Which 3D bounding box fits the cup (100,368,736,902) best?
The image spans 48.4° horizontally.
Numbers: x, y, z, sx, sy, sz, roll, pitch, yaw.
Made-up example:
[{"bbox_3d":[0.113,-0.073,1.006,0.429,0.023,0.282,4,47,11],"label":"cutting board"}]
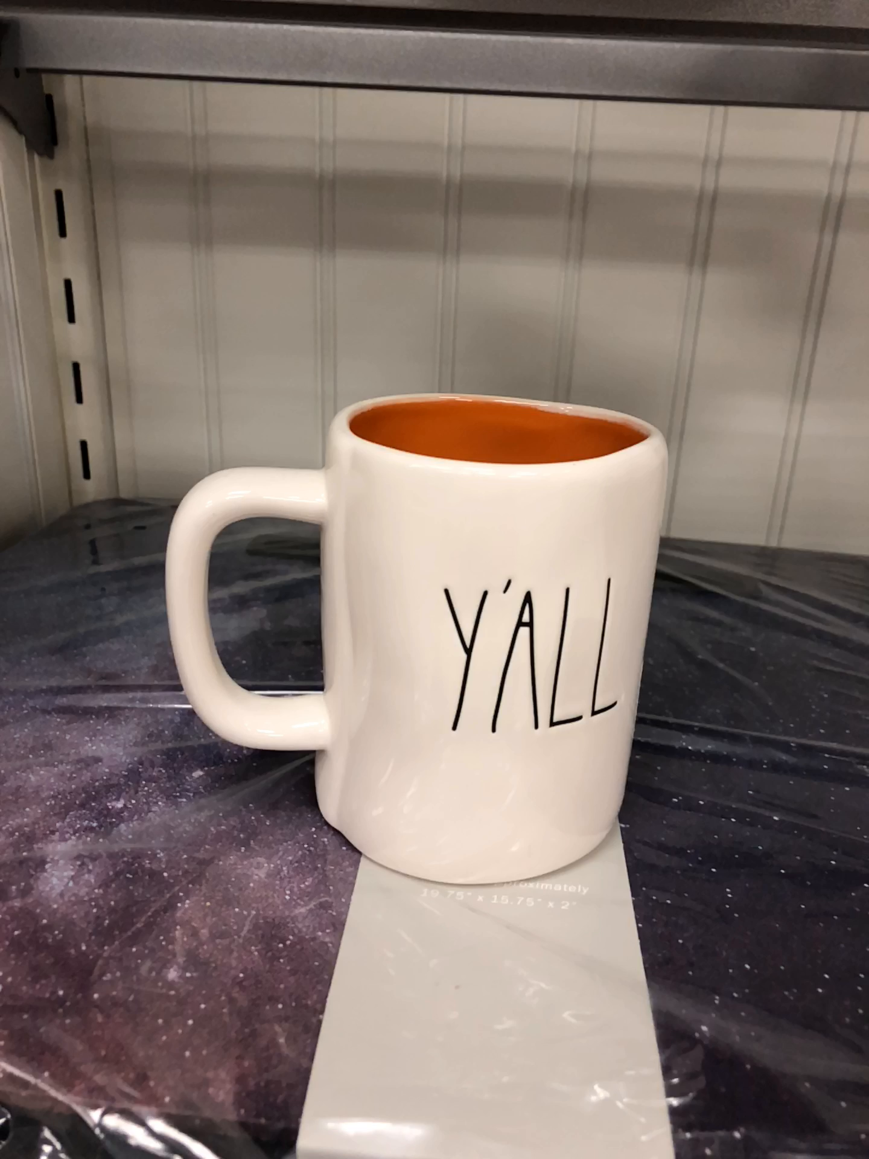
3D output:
[{"bbox_3d":[-0.008,0.010,0.275,0.140,0.119,0.091,0,23,-6],"label":"cup"}]
